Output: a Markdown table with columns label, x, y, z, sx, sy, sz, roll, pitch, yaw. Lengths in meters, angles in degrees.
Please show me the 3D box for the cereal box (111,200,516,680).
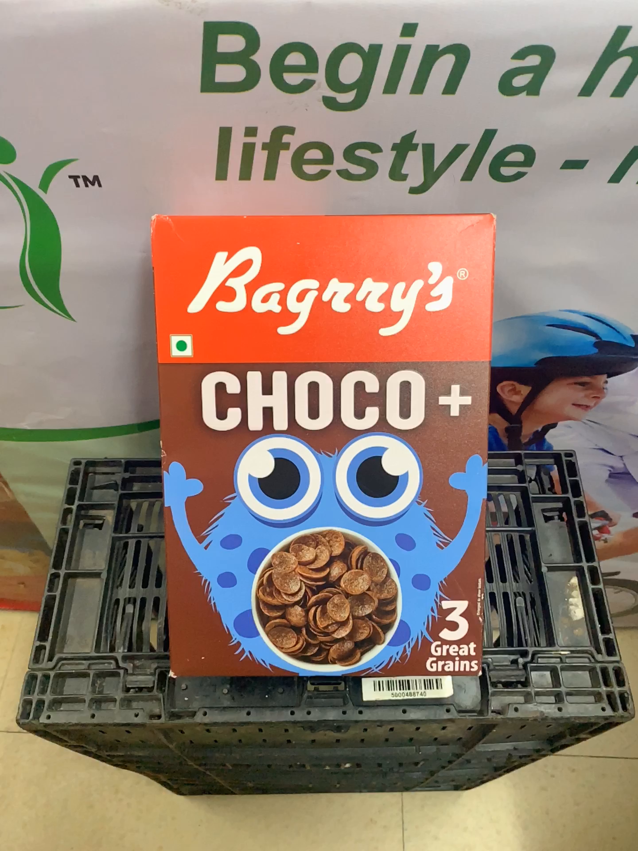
| label | x | y | z | sx | sy | sz | roll | pitch | yaw |
| --- | --- | --- | --- | --- | --- | --- | --- | --- | --- |
| cereal box | -0.002 | 0.008 | 0.364 | 0.190 | 0.080 | 0.240 | 0 | 98 | 0 |
